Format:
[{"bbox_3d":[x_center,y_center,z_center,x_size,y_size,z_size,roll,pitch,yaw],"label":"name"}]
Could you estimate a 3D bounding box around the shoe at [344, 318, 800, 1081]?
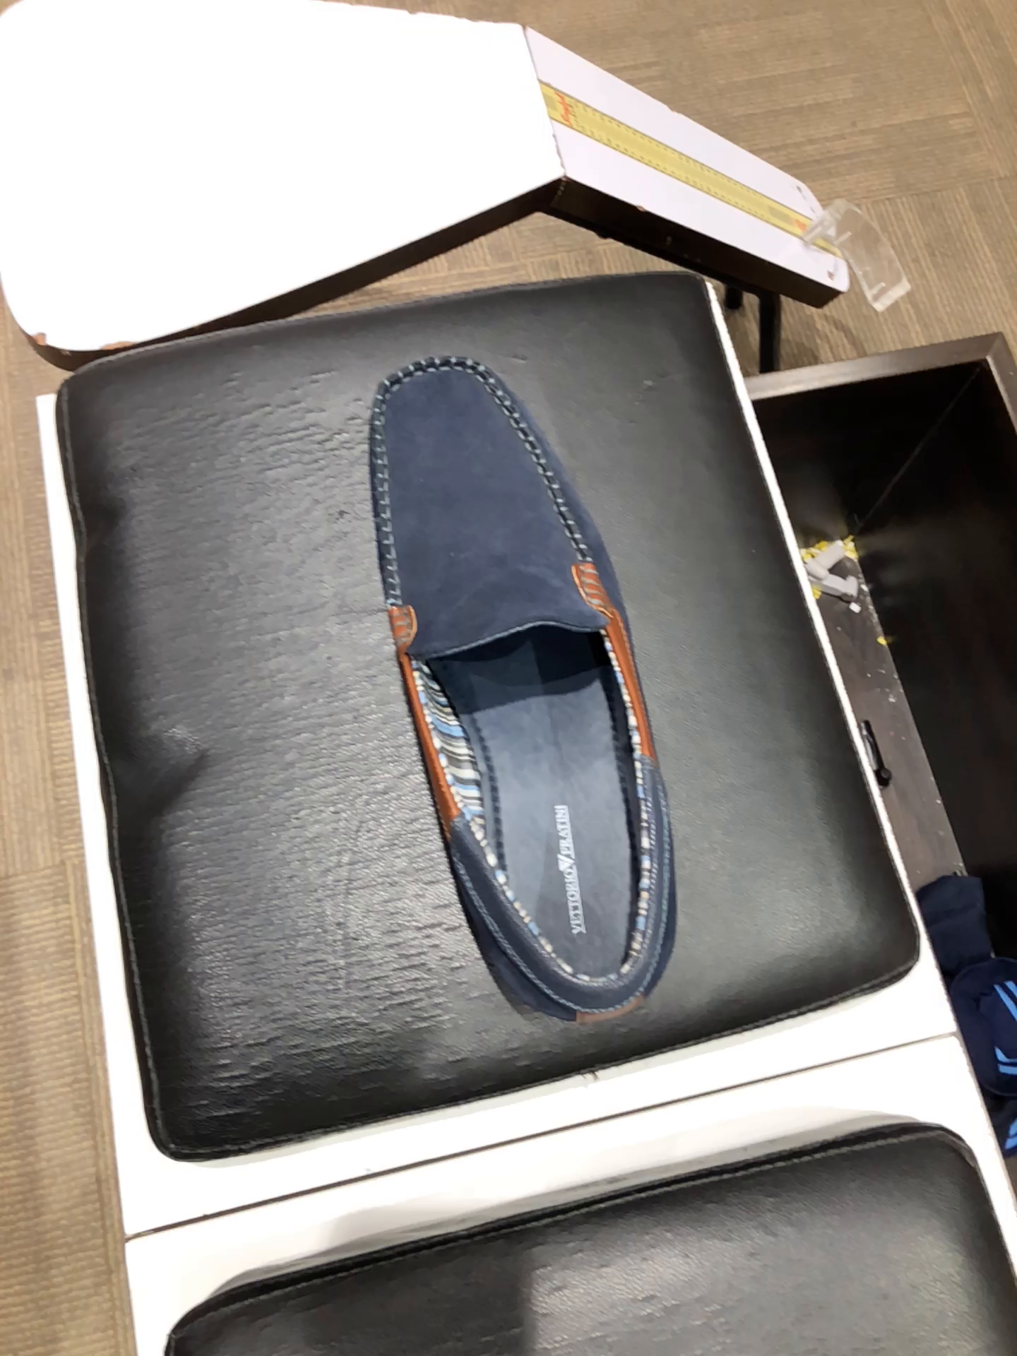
[{"bbox_3d":[0.016,0.007,0.482,0.110,0.100,0.291,-12,73,-6],"label":"shoe"}]
